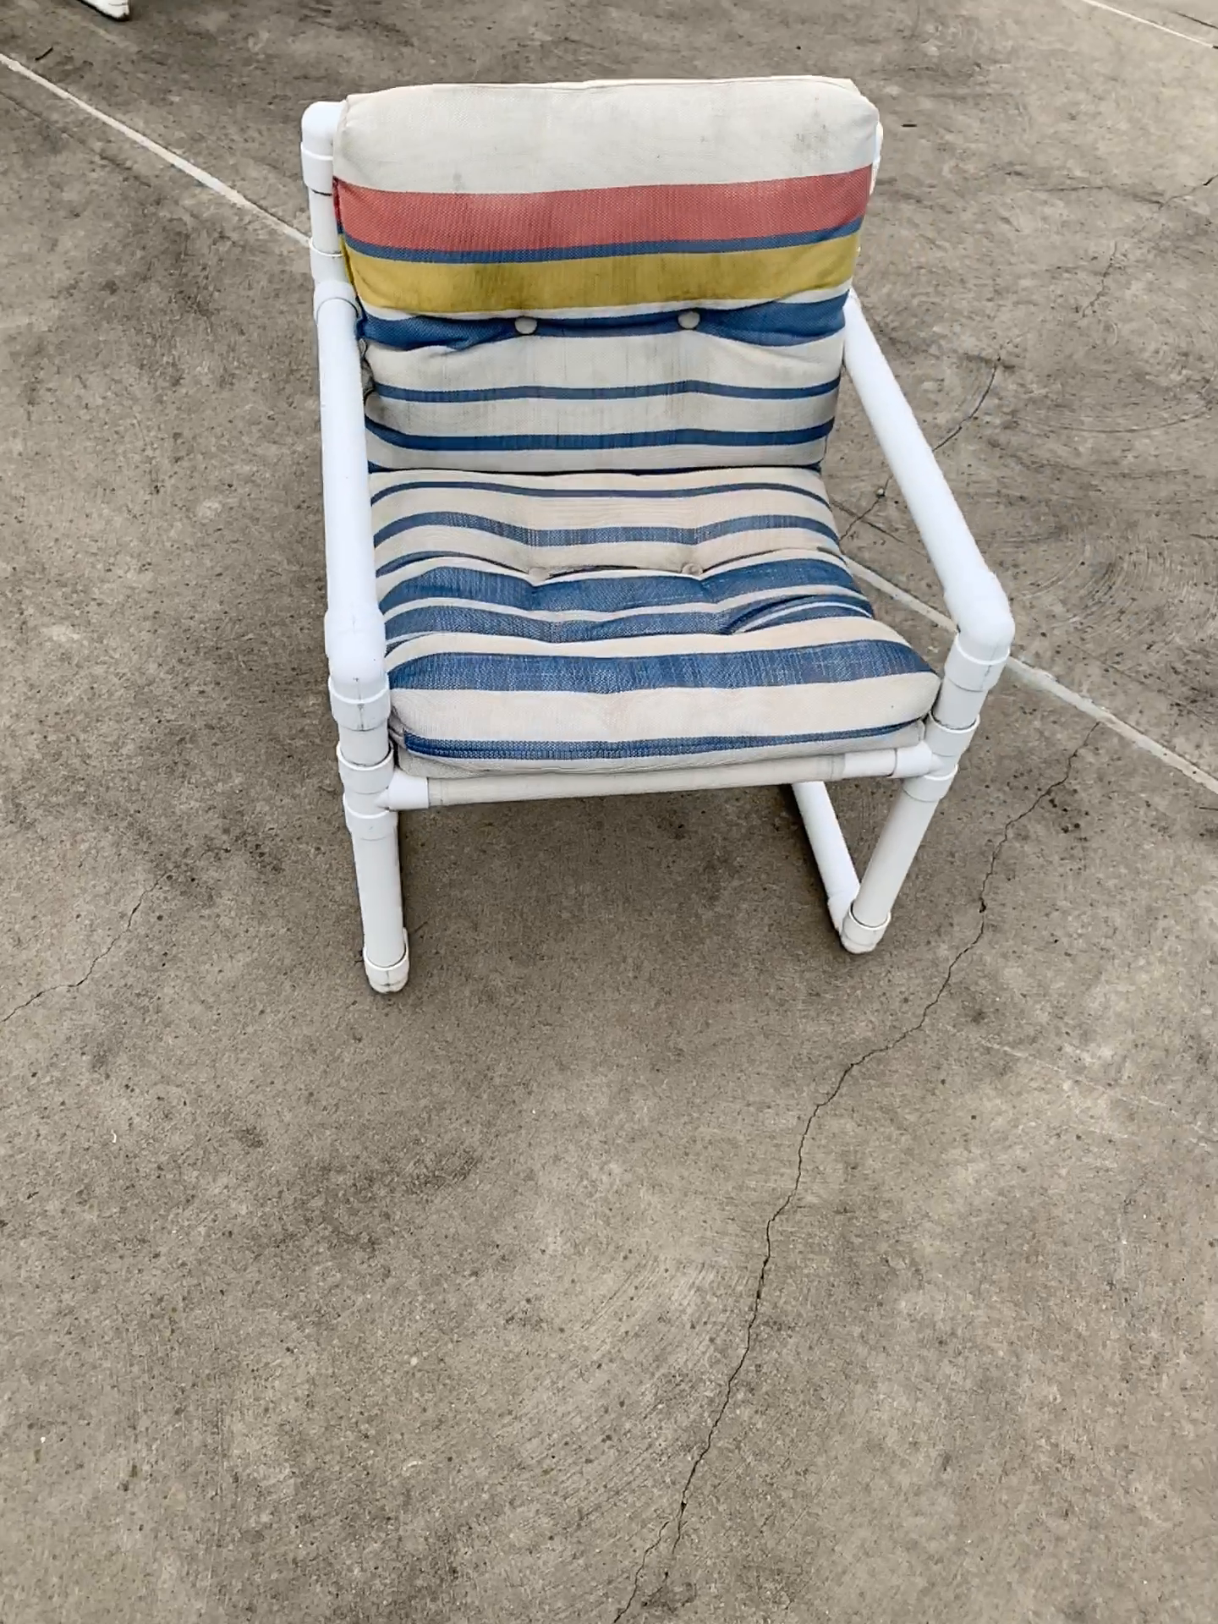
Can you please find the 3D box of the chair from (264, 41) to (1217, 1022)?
[{"bbox_3d":[0.031,-0.268,1.295,0.650,0.687,0.673,-3,54,-9],"label":"chair"}]
